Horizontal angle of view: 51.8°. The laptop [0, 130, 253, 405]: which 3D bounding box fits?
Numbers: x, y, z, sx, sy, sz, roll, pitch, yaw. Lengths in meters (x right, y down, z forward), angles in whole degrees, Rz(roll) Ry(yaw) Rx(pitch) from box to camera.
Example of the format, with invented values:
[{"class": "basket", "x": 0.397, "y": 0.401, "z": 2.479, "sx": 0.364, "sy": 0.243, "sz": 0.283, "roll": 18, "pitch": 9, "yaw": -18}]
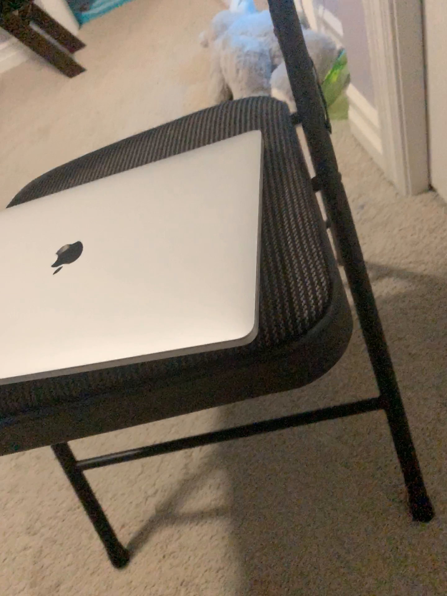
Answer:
[{"class": "laptop", "x": -0.133, "y": -0.031, "z": 0.394, "sx": 0.332, "sy": 0.001, "sz": 0.225, "roll": -12, "pitch": 49, "yaw": 19}]
